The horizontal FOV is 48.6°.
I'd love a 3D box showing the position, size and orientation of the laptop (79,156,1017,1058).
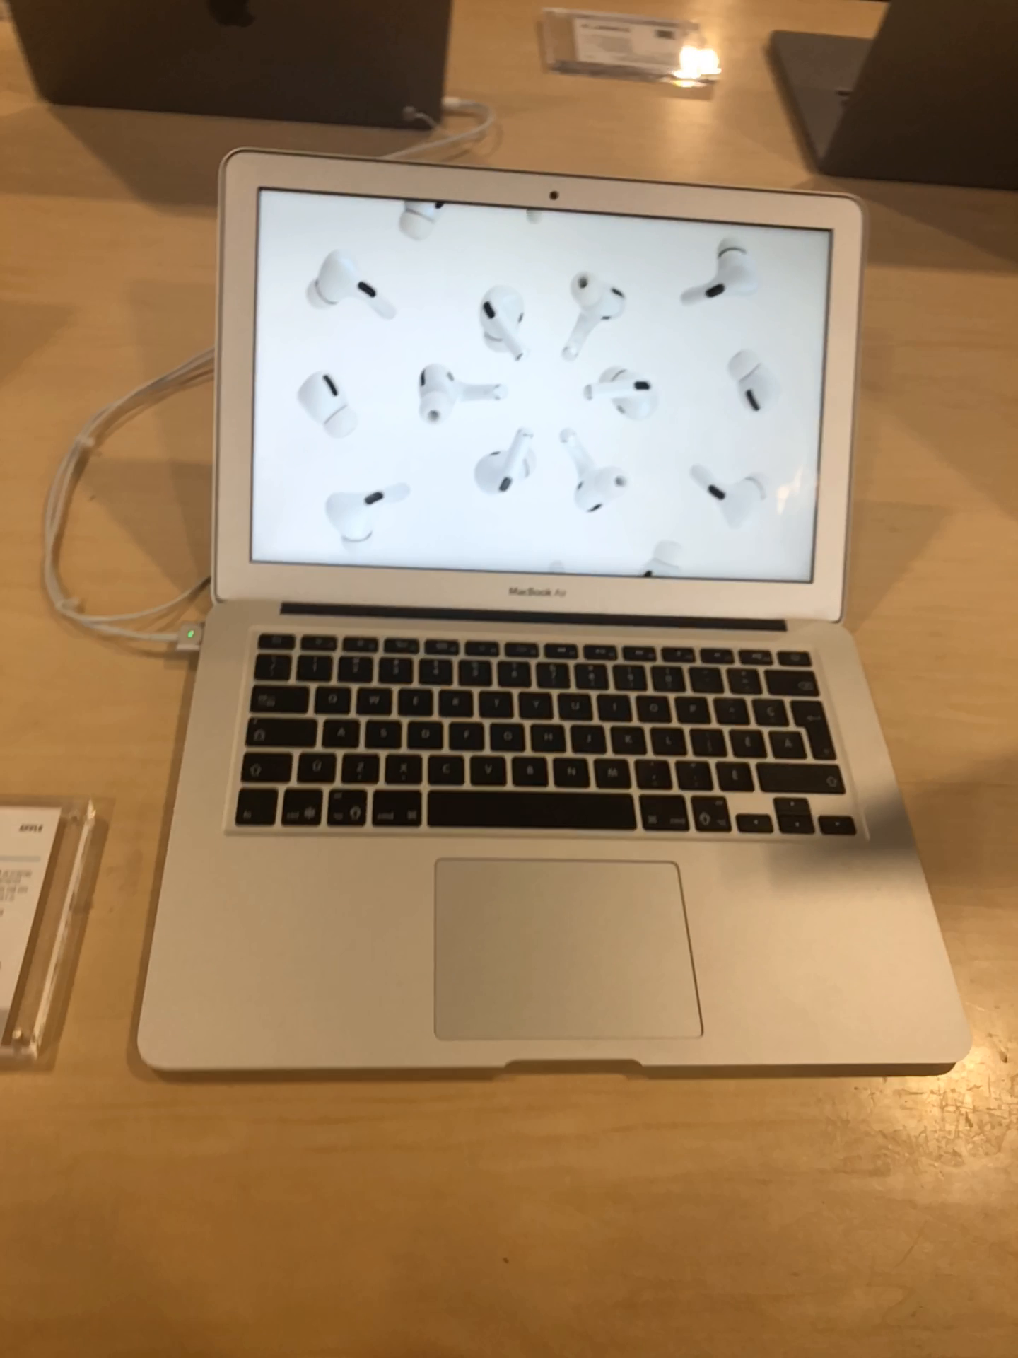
[{"bbox_3d":[0.021,-0.049,0.480,0.302,0.137,0.372,2,52,-6],"label":"laptop"}]
